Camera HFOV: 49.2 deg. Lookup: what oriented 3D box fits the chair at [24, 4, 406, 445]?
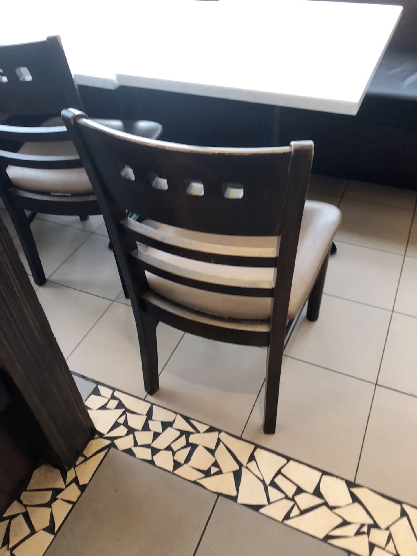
[{"bbox_3d":[0.074,-0.124,1.036,0.471,0.715,0.573,16,48,19],"label":"chair"}]
